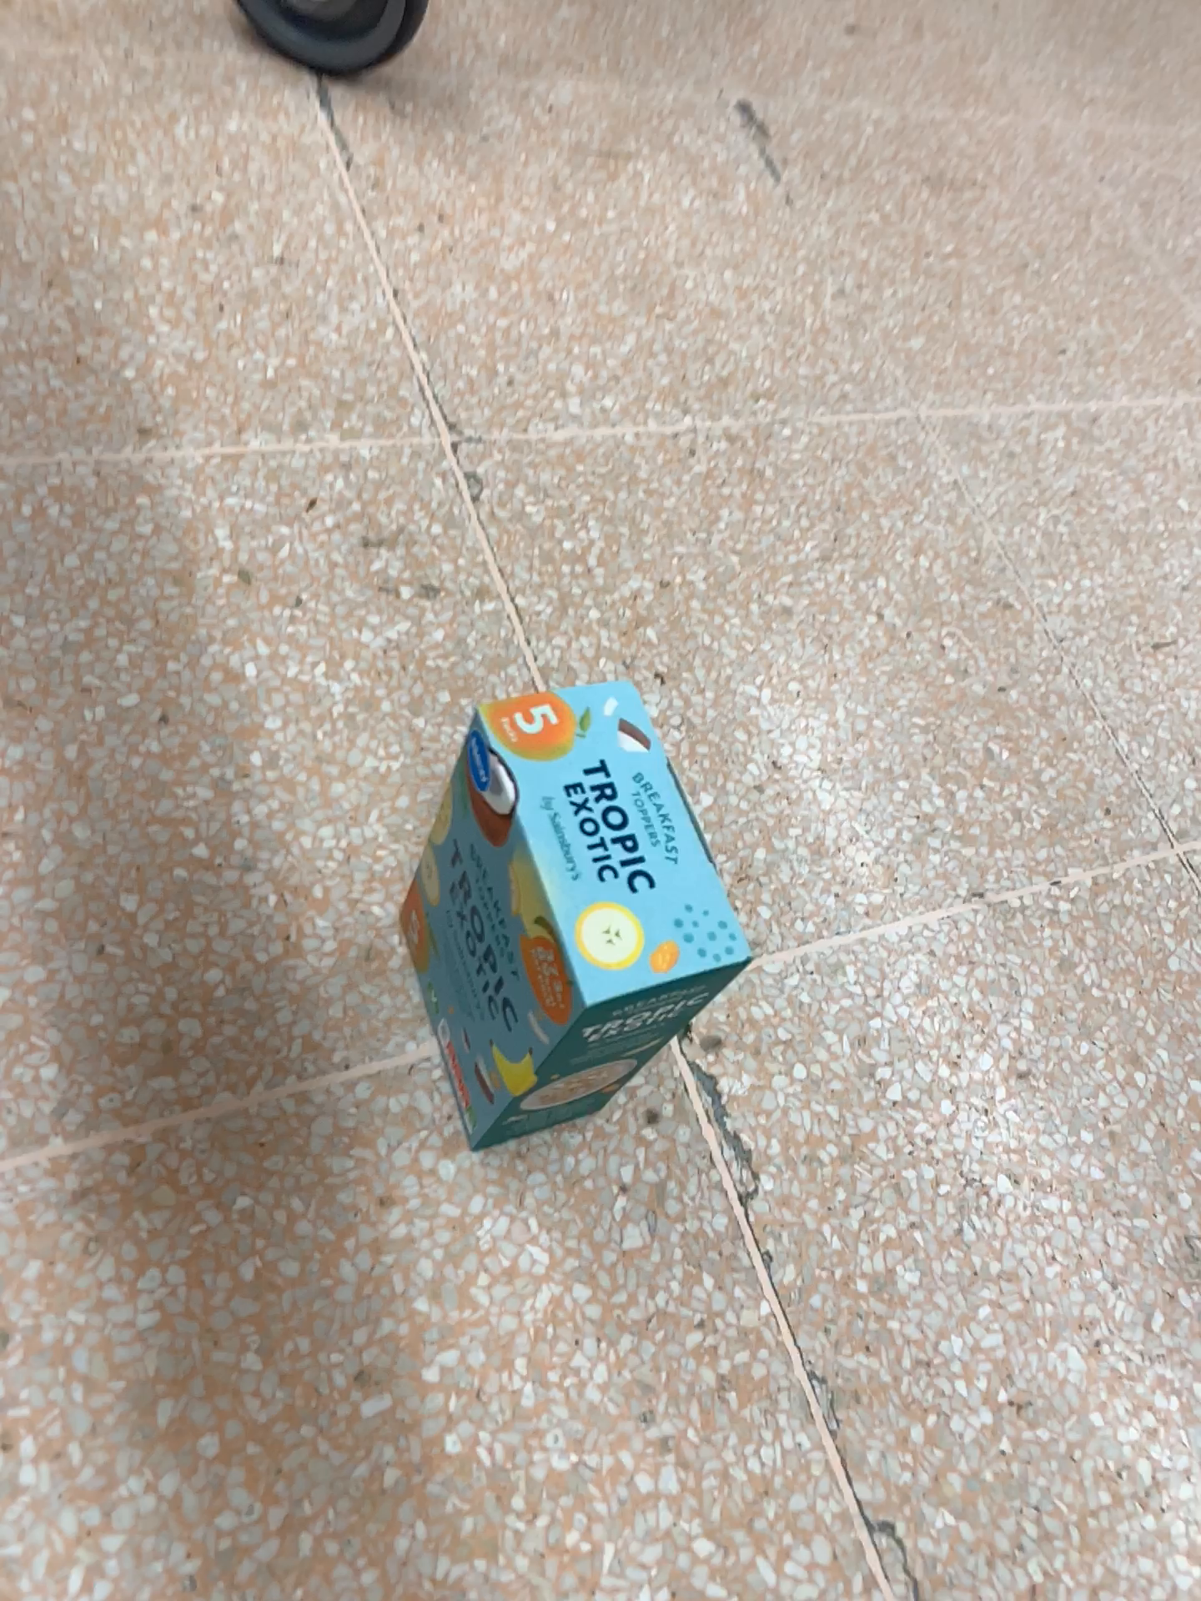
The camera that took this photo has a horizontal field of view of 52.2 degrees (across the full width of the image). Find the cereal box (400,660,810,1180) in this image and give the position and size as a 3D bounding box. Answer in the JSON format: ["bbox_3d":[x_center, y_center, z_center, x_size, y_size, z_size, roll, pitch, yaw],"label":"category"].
[{"bbox_3d":[-0.010,0.045,0.405,0.060,0.149,0.111,-11,65,-25],"label":"cereal box"}]
